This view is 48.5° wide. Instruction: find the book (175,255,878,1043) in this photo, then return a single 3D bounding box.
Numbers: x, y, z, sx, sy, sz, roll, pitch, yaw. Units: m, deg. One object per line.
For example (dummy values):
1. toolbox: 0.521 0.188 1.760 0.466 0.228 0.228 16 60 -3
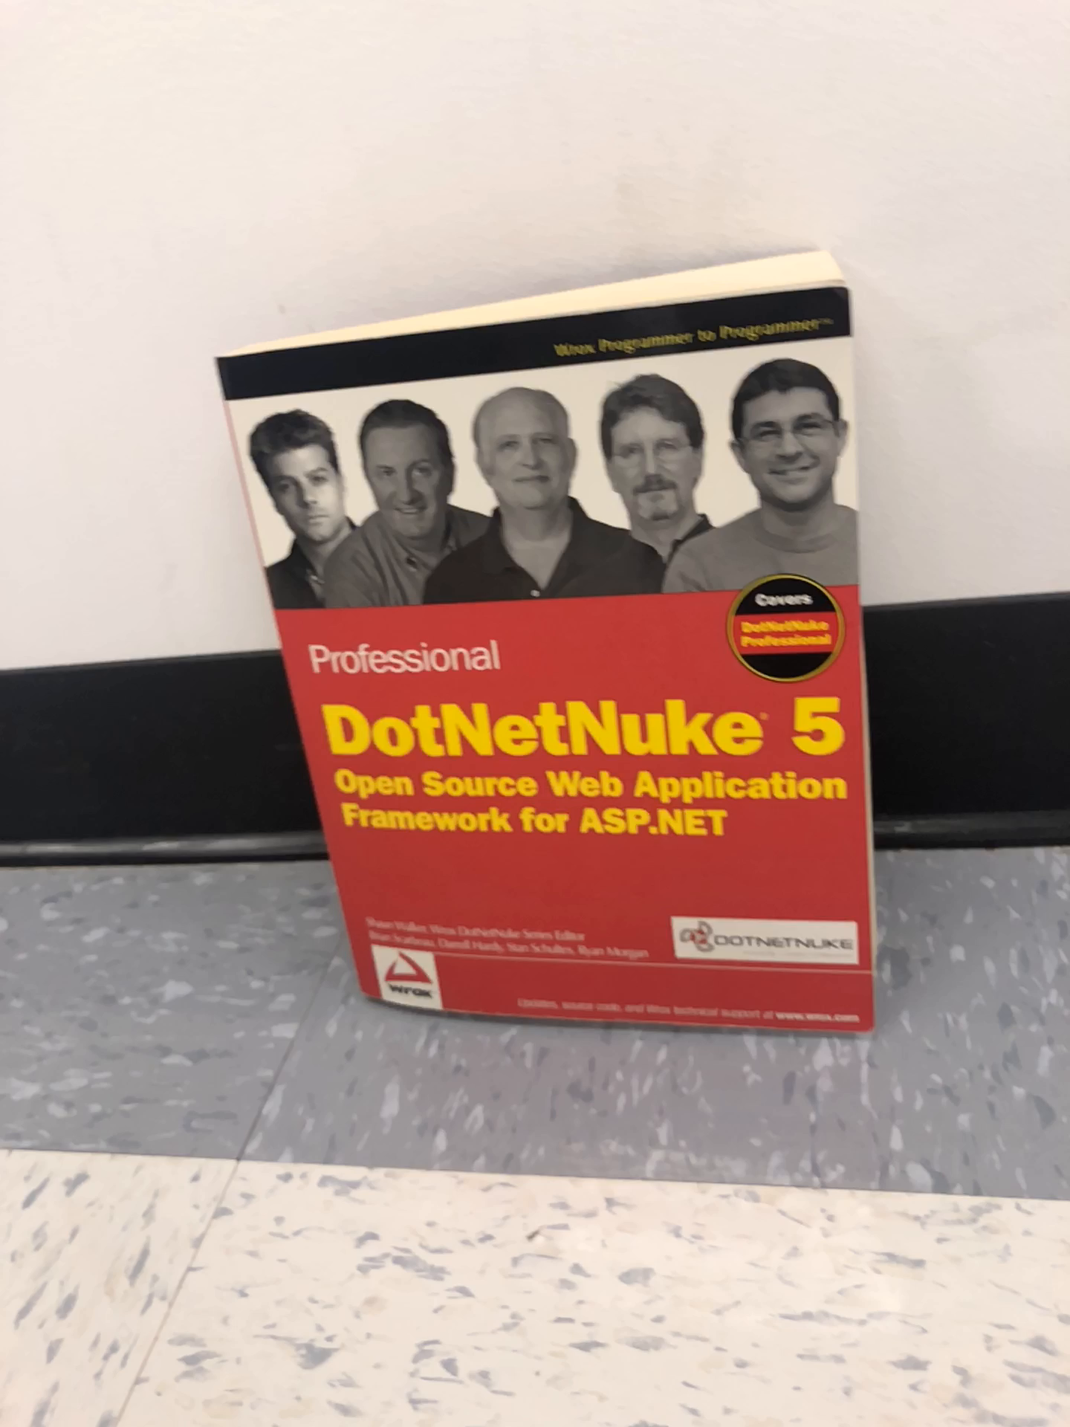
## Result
1. book: 0.007 -0.015 0.419 0.210 0.249 0.060 -1 20 18
